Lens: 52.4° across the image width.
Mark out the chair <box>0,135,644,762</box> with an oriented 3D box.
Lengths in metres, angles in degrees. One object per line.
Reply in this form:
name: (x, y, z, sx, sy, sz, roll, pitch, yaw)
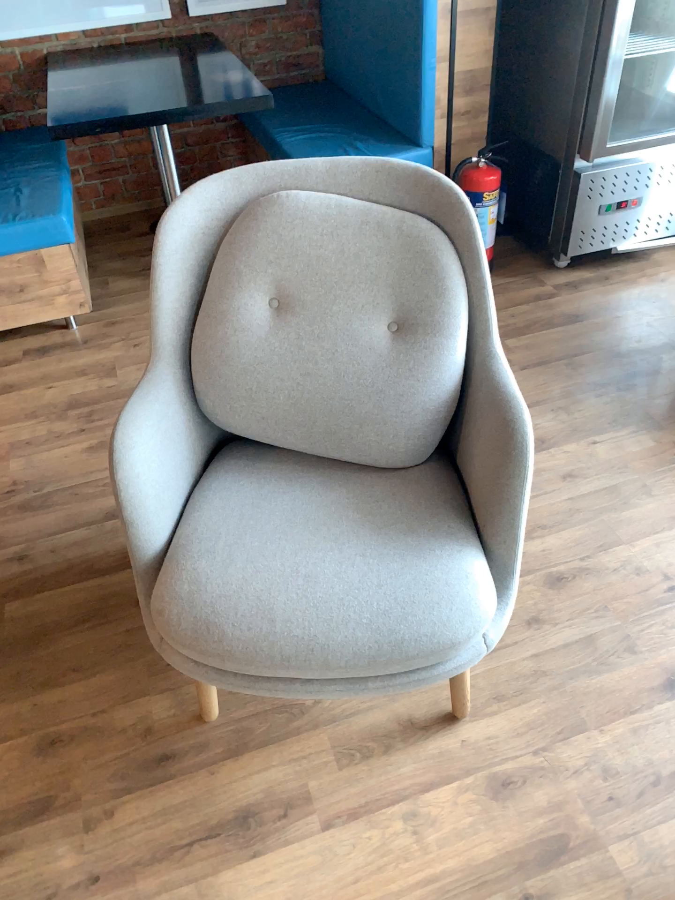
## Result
chair: (-0.038, -0.010, 1.292, 0.750, 0.833, 0.747, -5, 40, 0)
